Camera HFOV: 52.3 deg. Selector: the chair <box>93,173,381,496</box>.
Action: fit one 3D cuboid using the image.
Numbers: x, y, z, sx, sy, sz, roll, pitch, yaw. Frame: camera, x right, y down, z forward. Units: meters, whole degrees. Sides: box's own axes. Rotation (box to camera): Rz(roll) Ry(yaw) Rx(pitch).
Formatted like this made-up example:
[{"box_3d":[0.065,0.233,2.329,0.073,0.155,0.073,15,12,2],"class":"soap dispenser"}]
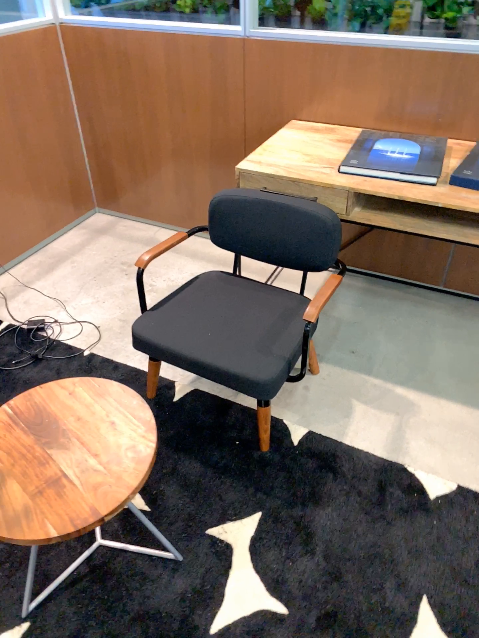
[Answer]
[{"box_3d":[0.018,0.031,1.885,0.752,0.875,0.612,18,42,23],"class":"chair"}]
